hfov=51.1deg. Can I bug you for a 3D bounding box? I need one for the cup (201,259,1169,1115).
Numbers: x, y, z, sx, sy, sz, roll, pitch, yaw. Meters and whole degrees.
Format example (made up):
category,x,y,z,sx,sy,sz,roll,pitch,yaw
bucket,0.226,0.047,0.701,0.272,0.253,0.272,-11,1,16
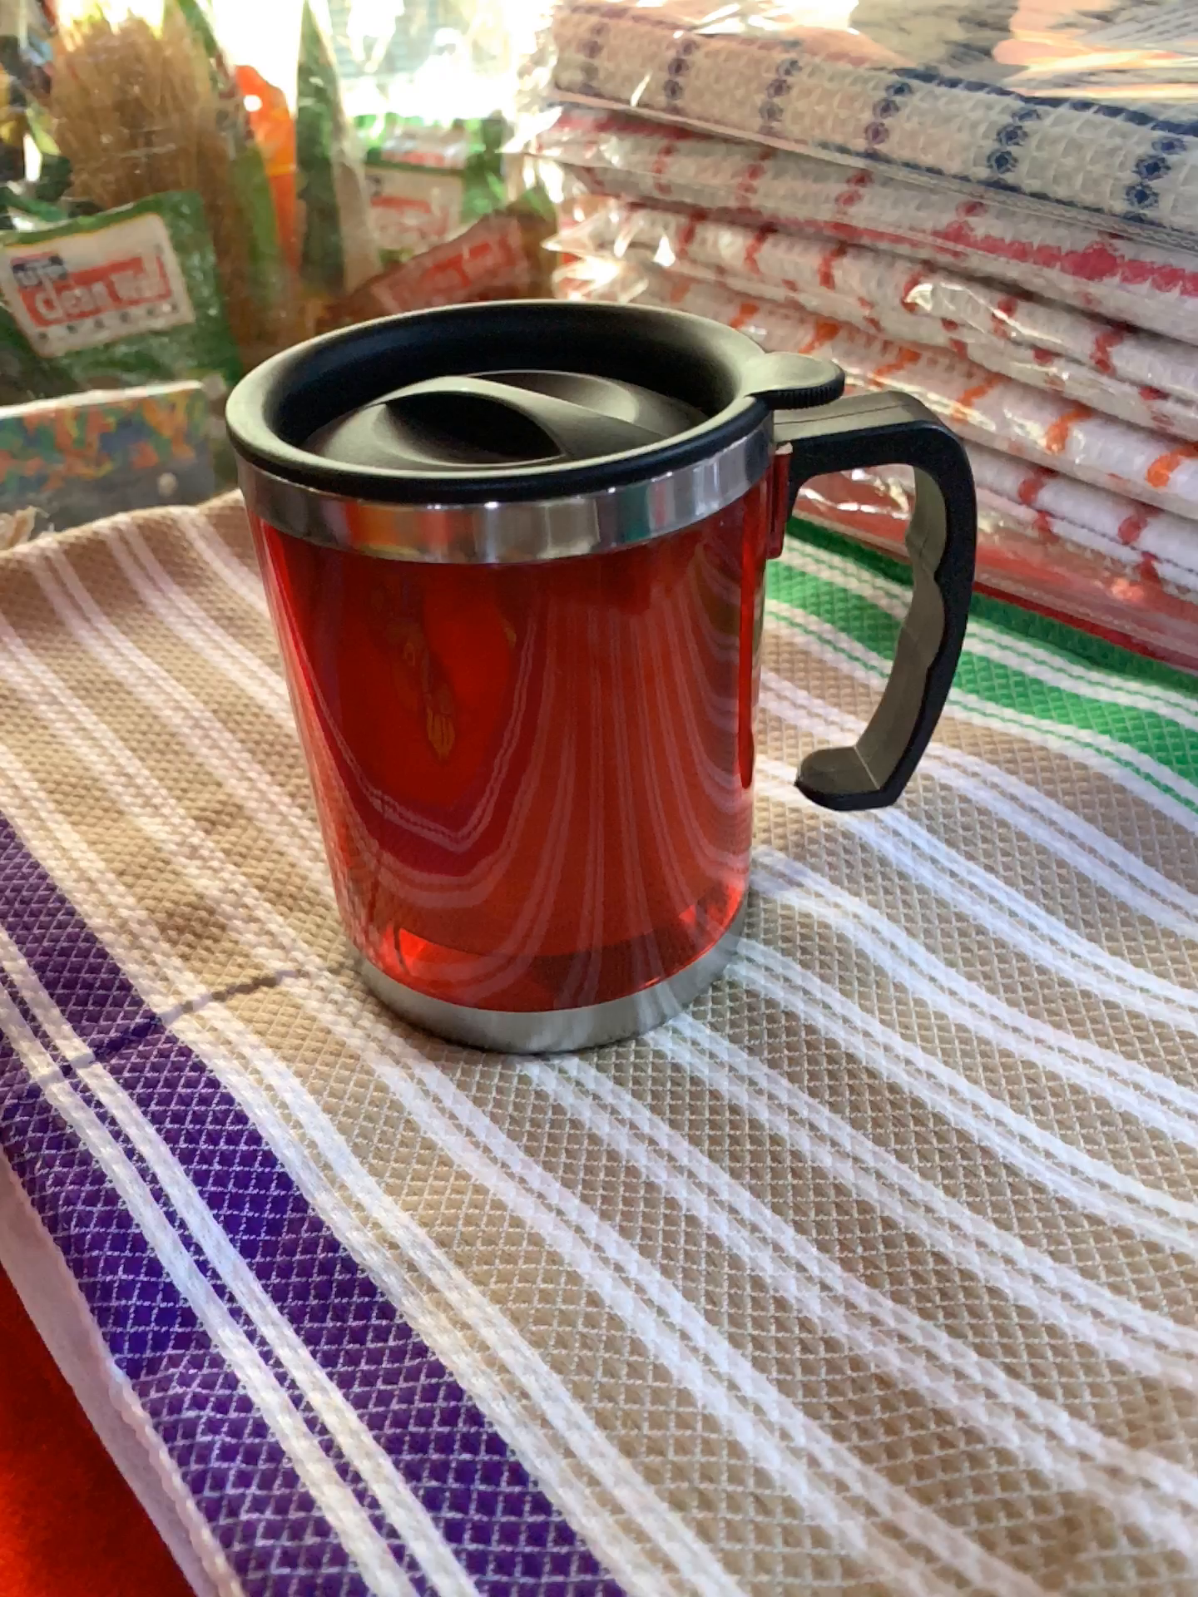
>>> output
category,x,y,z,sx,sy,sz,roll,pitch,yaw
cup,0.006,-0.028,0.230,0.129,0.102,0.100,-10,35,-9
